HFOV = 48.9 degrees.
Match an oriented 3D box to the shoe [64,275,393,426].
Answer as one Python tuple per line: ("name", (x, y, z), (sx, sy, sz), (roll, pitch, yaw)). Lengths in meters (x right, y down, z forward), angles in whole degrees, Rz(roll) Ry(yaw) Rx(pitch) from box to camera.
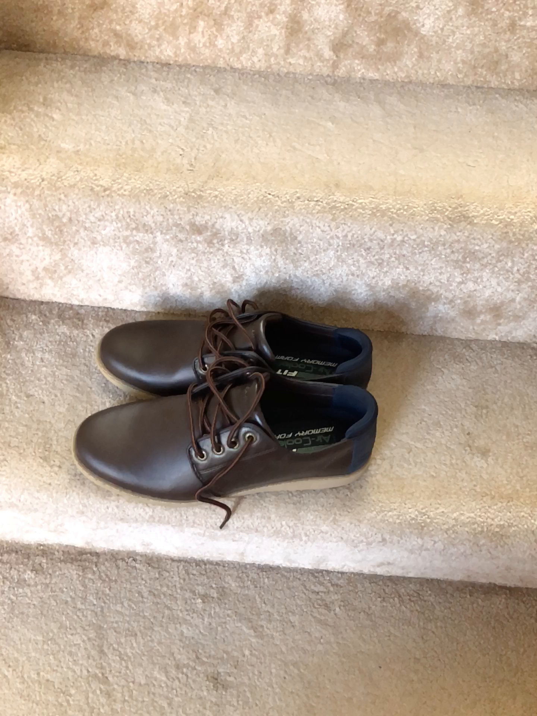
("shoe", (-0.036, -0.007, 0.607), (0.300, 0.089, 0.111), (2, 52, 0))

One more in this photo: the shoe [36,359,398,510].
("shoe", (-0.043, 0.072, 0.560), (0.300, 0.089, 0.111), (0, 52, -2))
